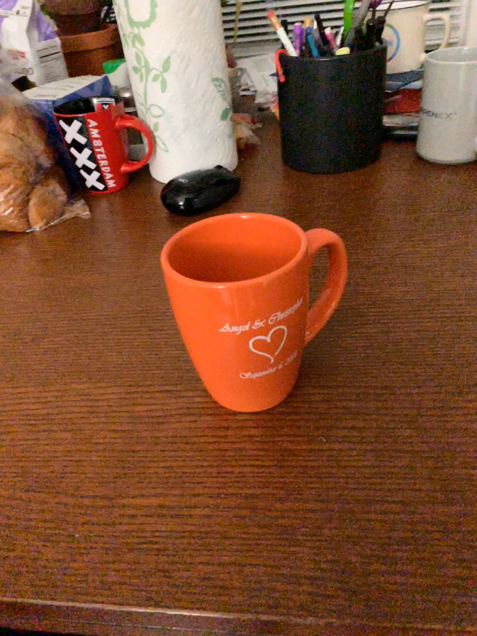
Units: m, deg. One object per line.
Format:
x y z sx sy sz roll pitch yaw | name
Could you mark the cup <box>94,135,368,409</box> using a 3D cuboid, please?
-0.001 -0.038 0.324 0.130 0.109 0.101 -27 41 -23 | cup
